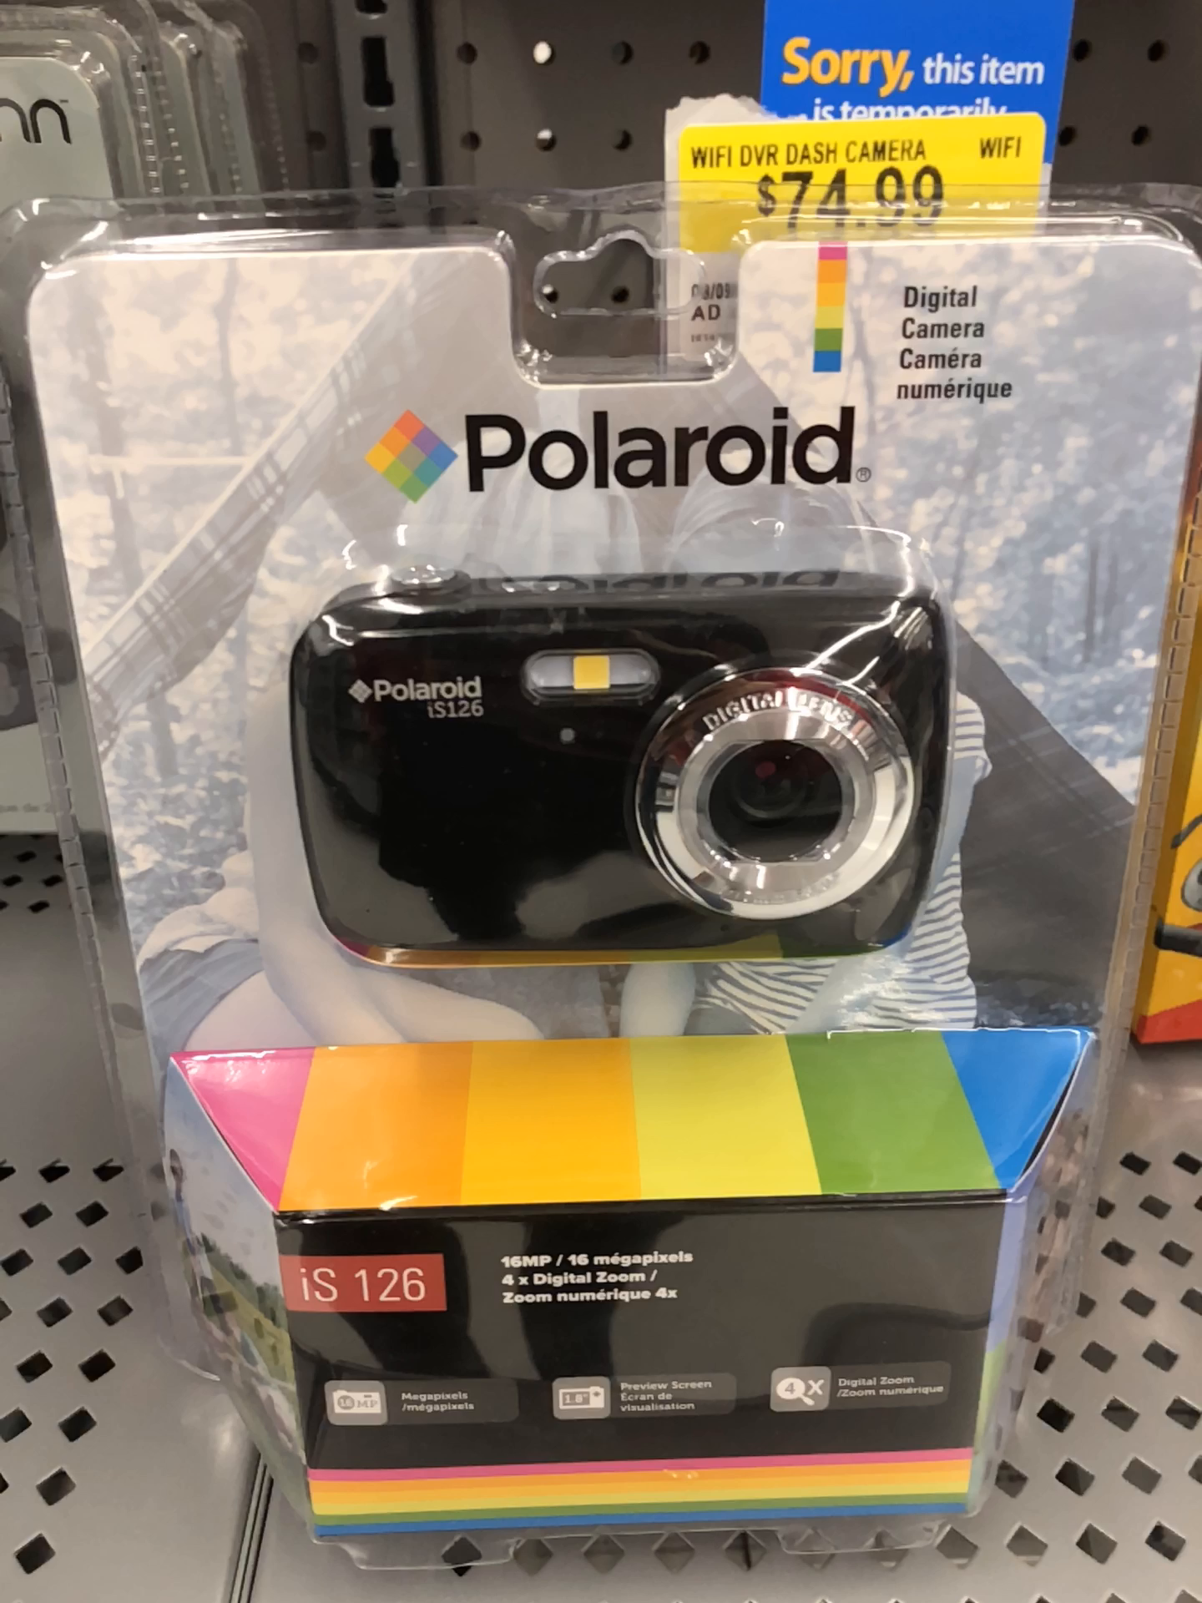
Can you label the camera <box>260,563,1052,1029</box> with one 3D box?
[{"bbox_3d":[0.007,0.000,0.198,0.100,0.060,0.030,-1,33,-2],"label":"camera"}]
